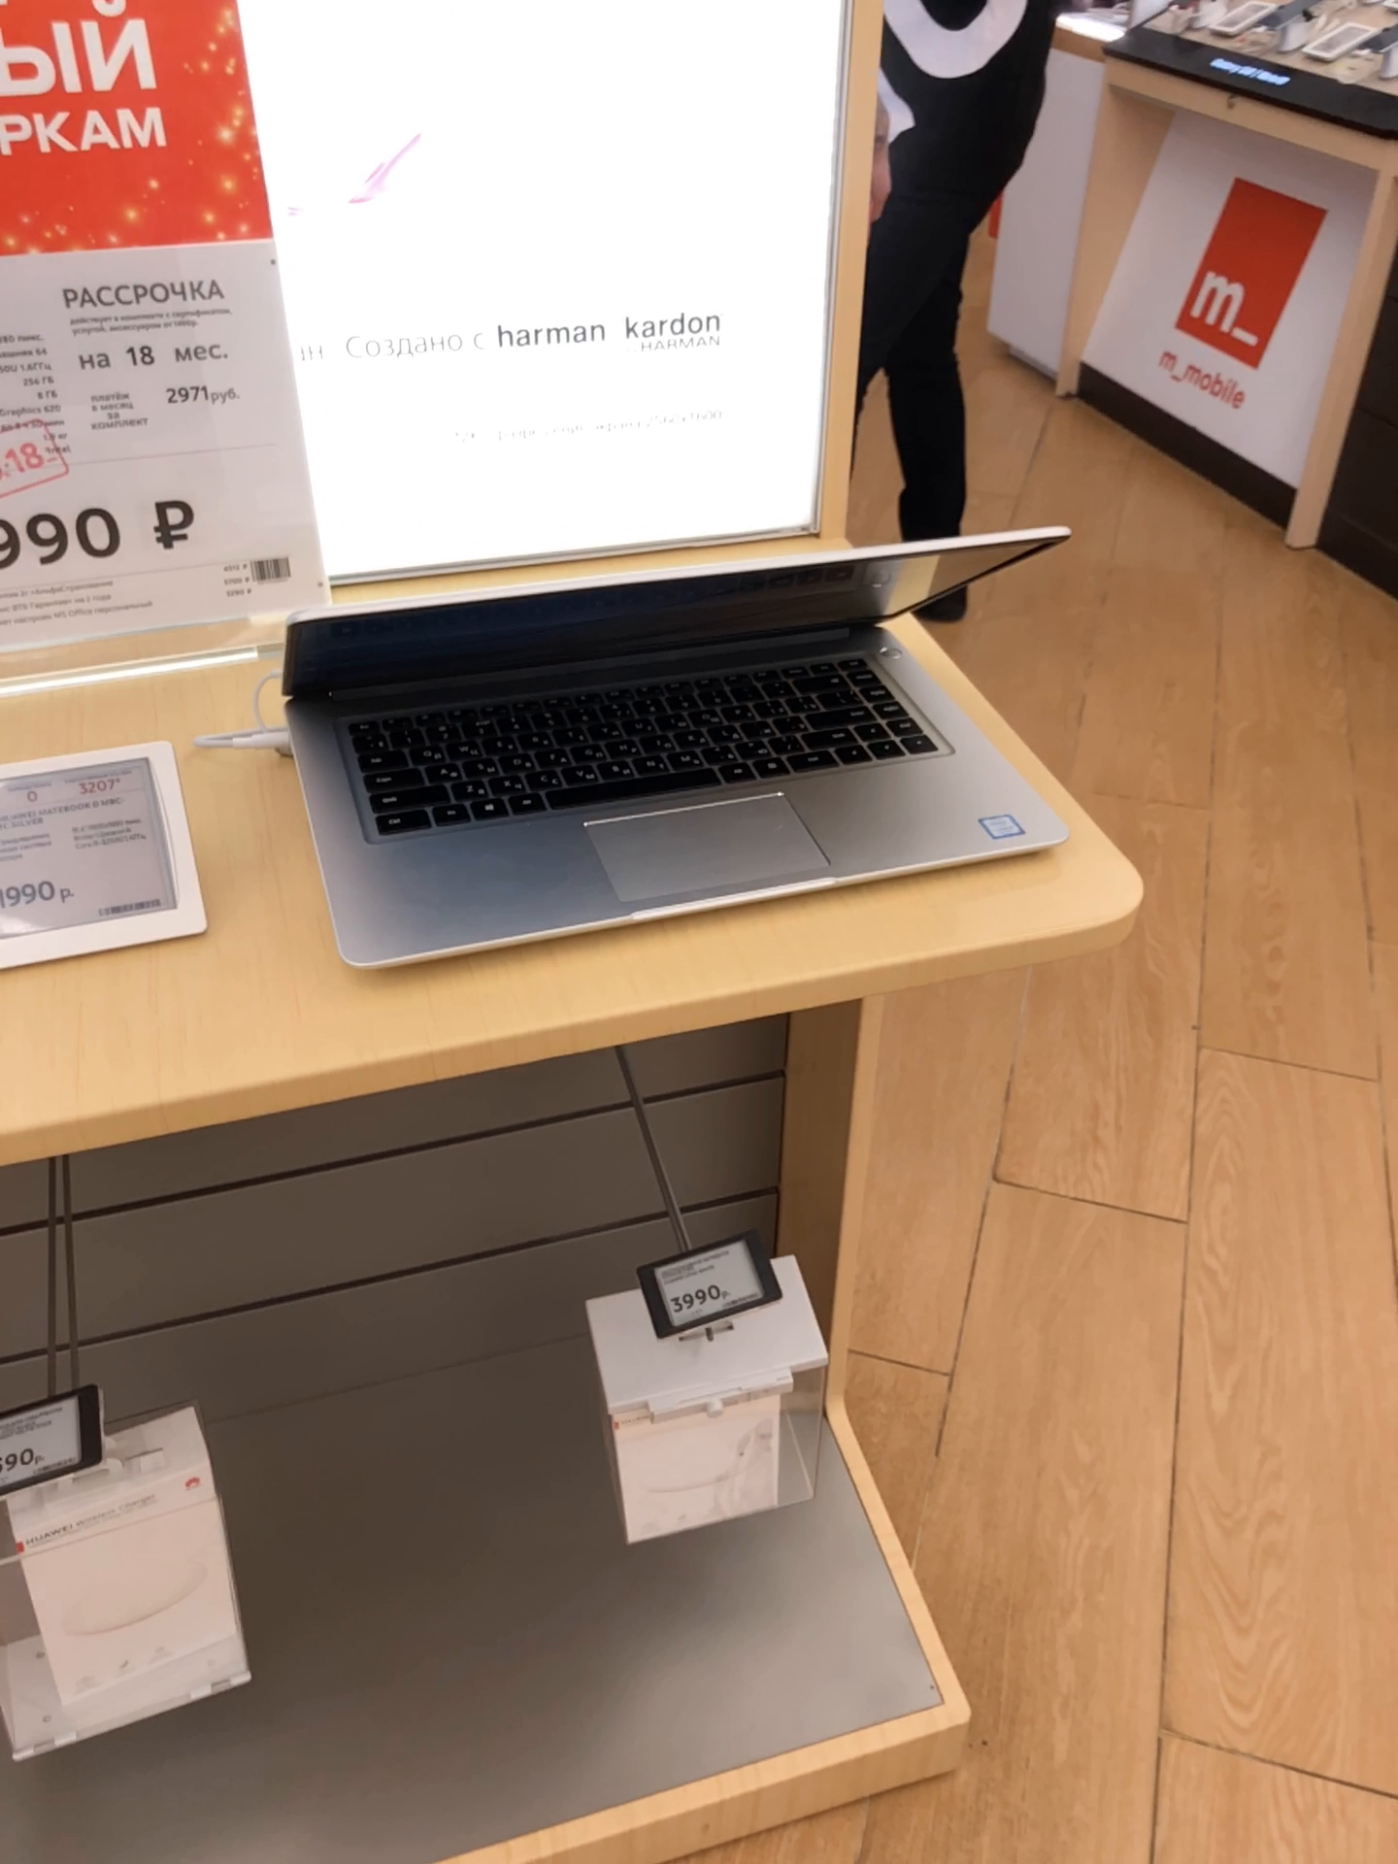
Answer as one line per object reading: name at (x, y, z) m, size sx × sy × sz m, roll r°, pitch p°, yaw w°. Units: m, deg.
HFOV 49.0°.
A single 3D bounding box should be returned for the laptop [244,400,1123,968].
laptop at (-0.020, -0.136, 0.738) m, size 0.343 × 0.135 × 0.231 m, roll -10°, pitch 39°, yaw -15°
